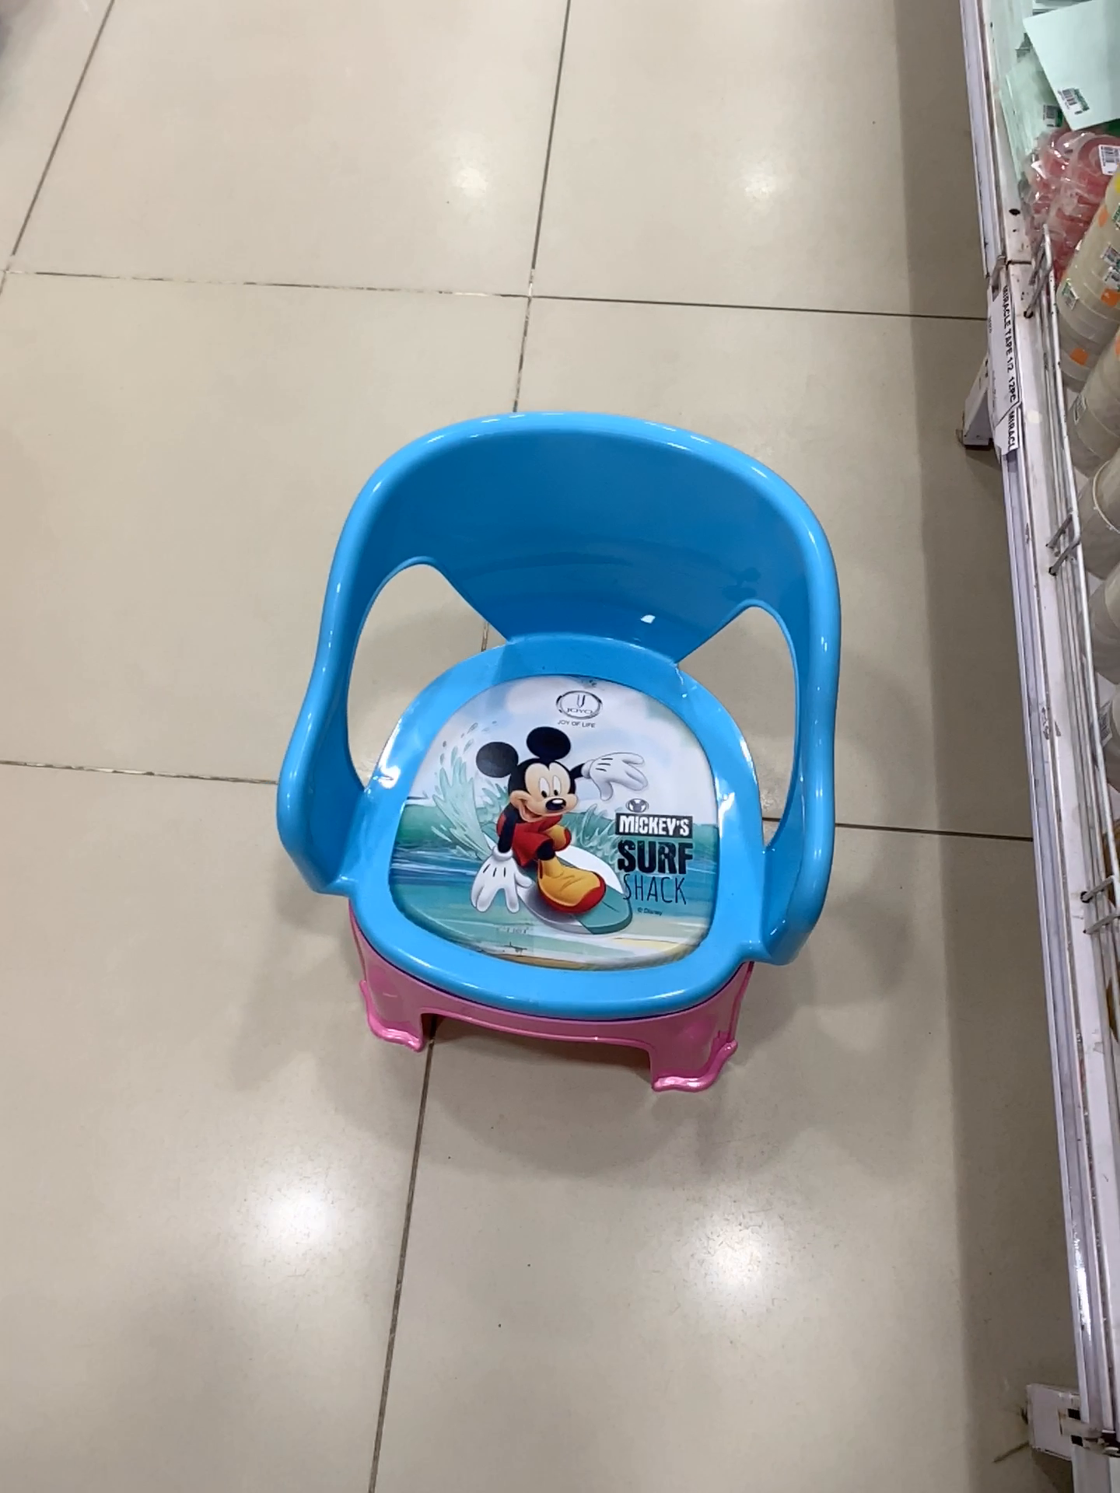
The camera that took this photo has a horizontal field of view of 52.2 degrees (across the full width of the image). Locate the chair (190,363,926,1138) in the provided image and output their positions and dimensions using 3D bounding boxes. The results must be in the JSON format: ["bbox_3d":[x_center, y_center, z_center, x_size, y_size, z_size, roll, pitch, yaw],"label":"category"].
[{"bbox_3d":[0.024,0.019,0.782,0.350,0.320,0.390,8,66,6],"label":"chair"}]
